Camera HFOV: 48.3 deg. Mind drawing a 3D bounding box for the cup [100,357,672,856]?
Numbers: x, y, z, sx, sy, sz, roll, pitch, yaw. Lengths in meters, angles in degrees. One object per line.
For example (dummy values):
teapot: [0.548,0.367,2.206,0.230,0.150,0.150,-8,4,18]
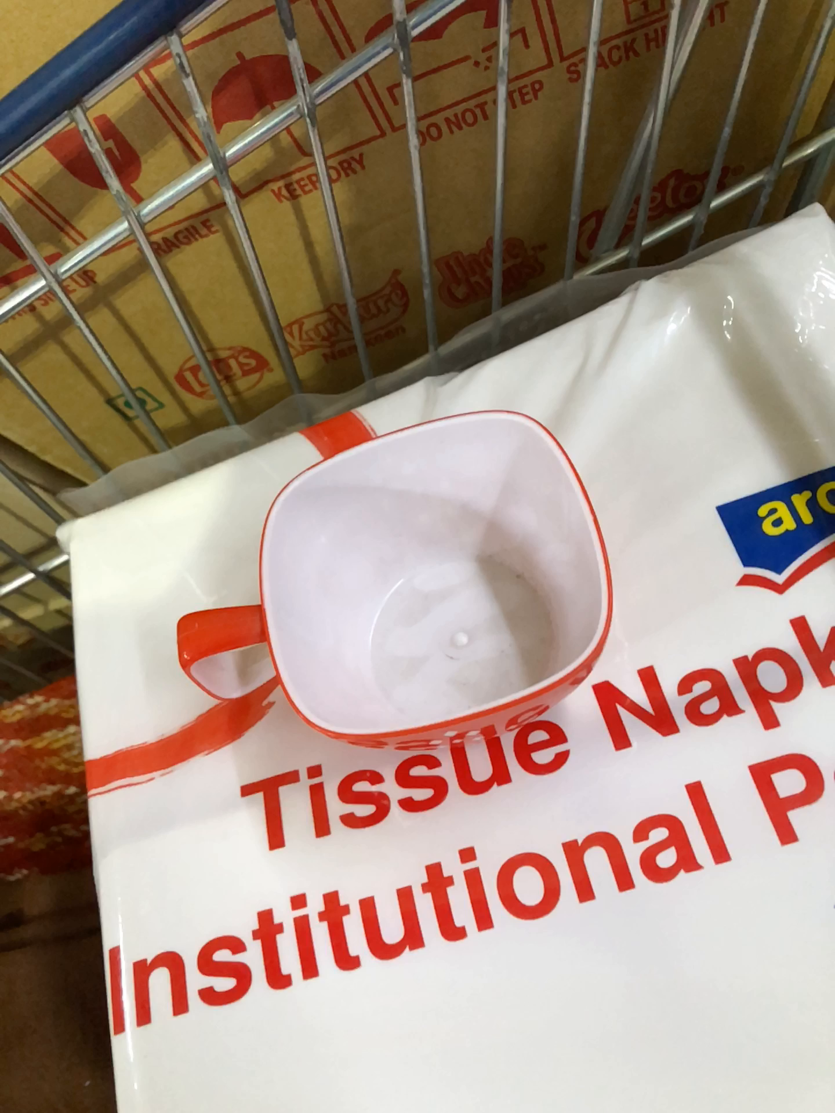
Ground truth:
cup: [-0.010,0.016,0.250,0.120,0.060,0.090,-16,67,0]
